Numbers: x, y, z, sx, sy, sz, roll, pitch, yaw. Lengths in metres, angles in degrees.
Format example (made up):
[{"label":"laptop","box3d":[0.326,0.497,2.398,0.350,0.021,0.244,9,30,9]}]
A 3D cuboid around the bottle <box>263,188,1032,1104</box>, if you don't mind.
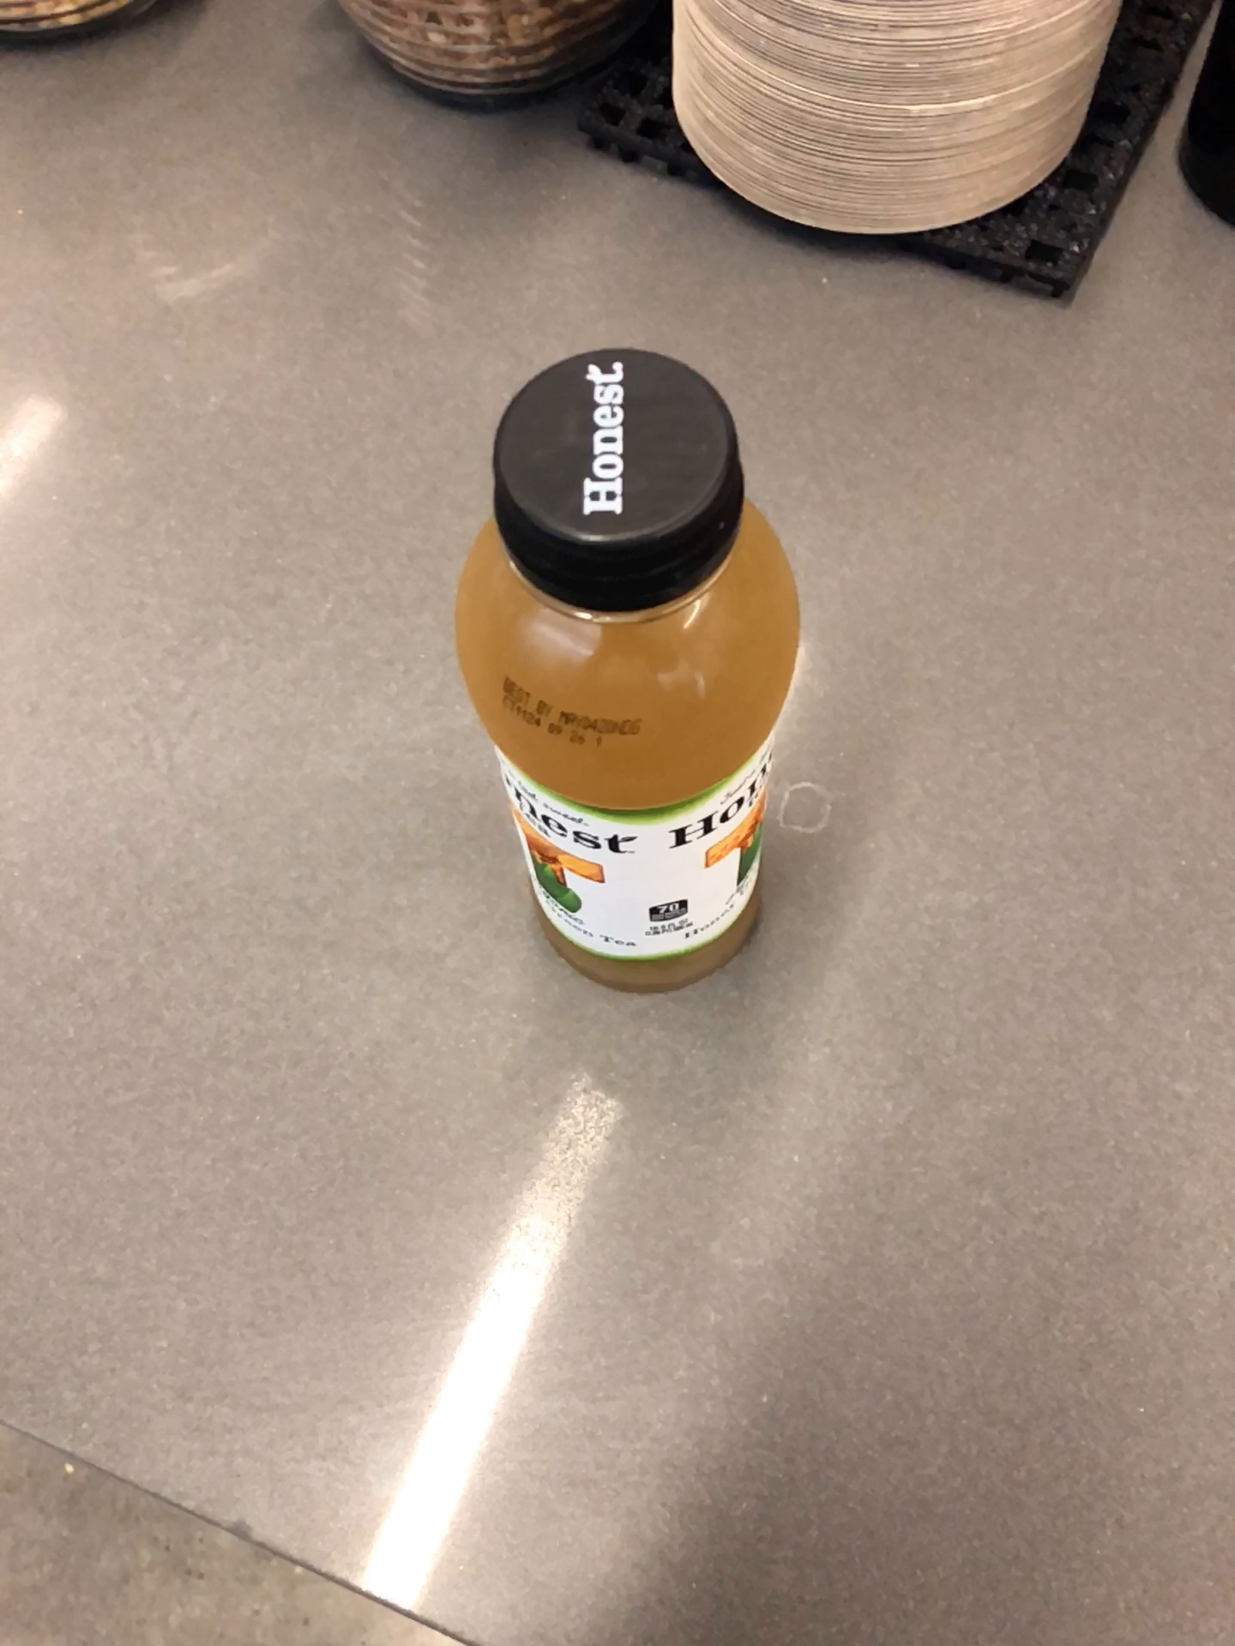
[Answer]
[{"label":"bottle","box3d":[0.009,-0.020,0.314,0.090,0.190,0.090,-1,66,2]}]
